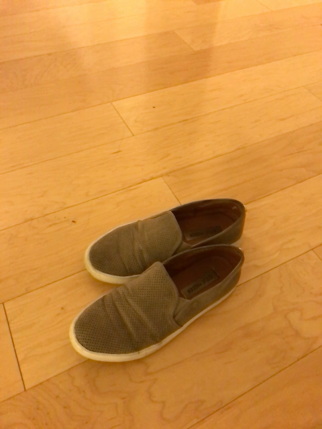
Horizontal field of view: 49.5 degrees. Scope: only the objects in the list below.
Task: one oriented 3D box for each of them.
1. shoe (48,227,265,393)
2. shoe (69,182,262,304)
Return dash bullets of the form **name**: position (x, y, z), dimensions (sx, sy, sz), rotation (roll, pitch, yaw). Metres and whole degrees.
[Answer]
- **shoe**: position (-0.001, 0.123, 0.500), dimensions (0.281, 0.050, 0.110), rotation (-22, 57, -20)
- **shoe**: position (0.007, 0.038, 0.565), dimensions (0.281, 0.060, 0.110), rotation (-15, 55, -16)
